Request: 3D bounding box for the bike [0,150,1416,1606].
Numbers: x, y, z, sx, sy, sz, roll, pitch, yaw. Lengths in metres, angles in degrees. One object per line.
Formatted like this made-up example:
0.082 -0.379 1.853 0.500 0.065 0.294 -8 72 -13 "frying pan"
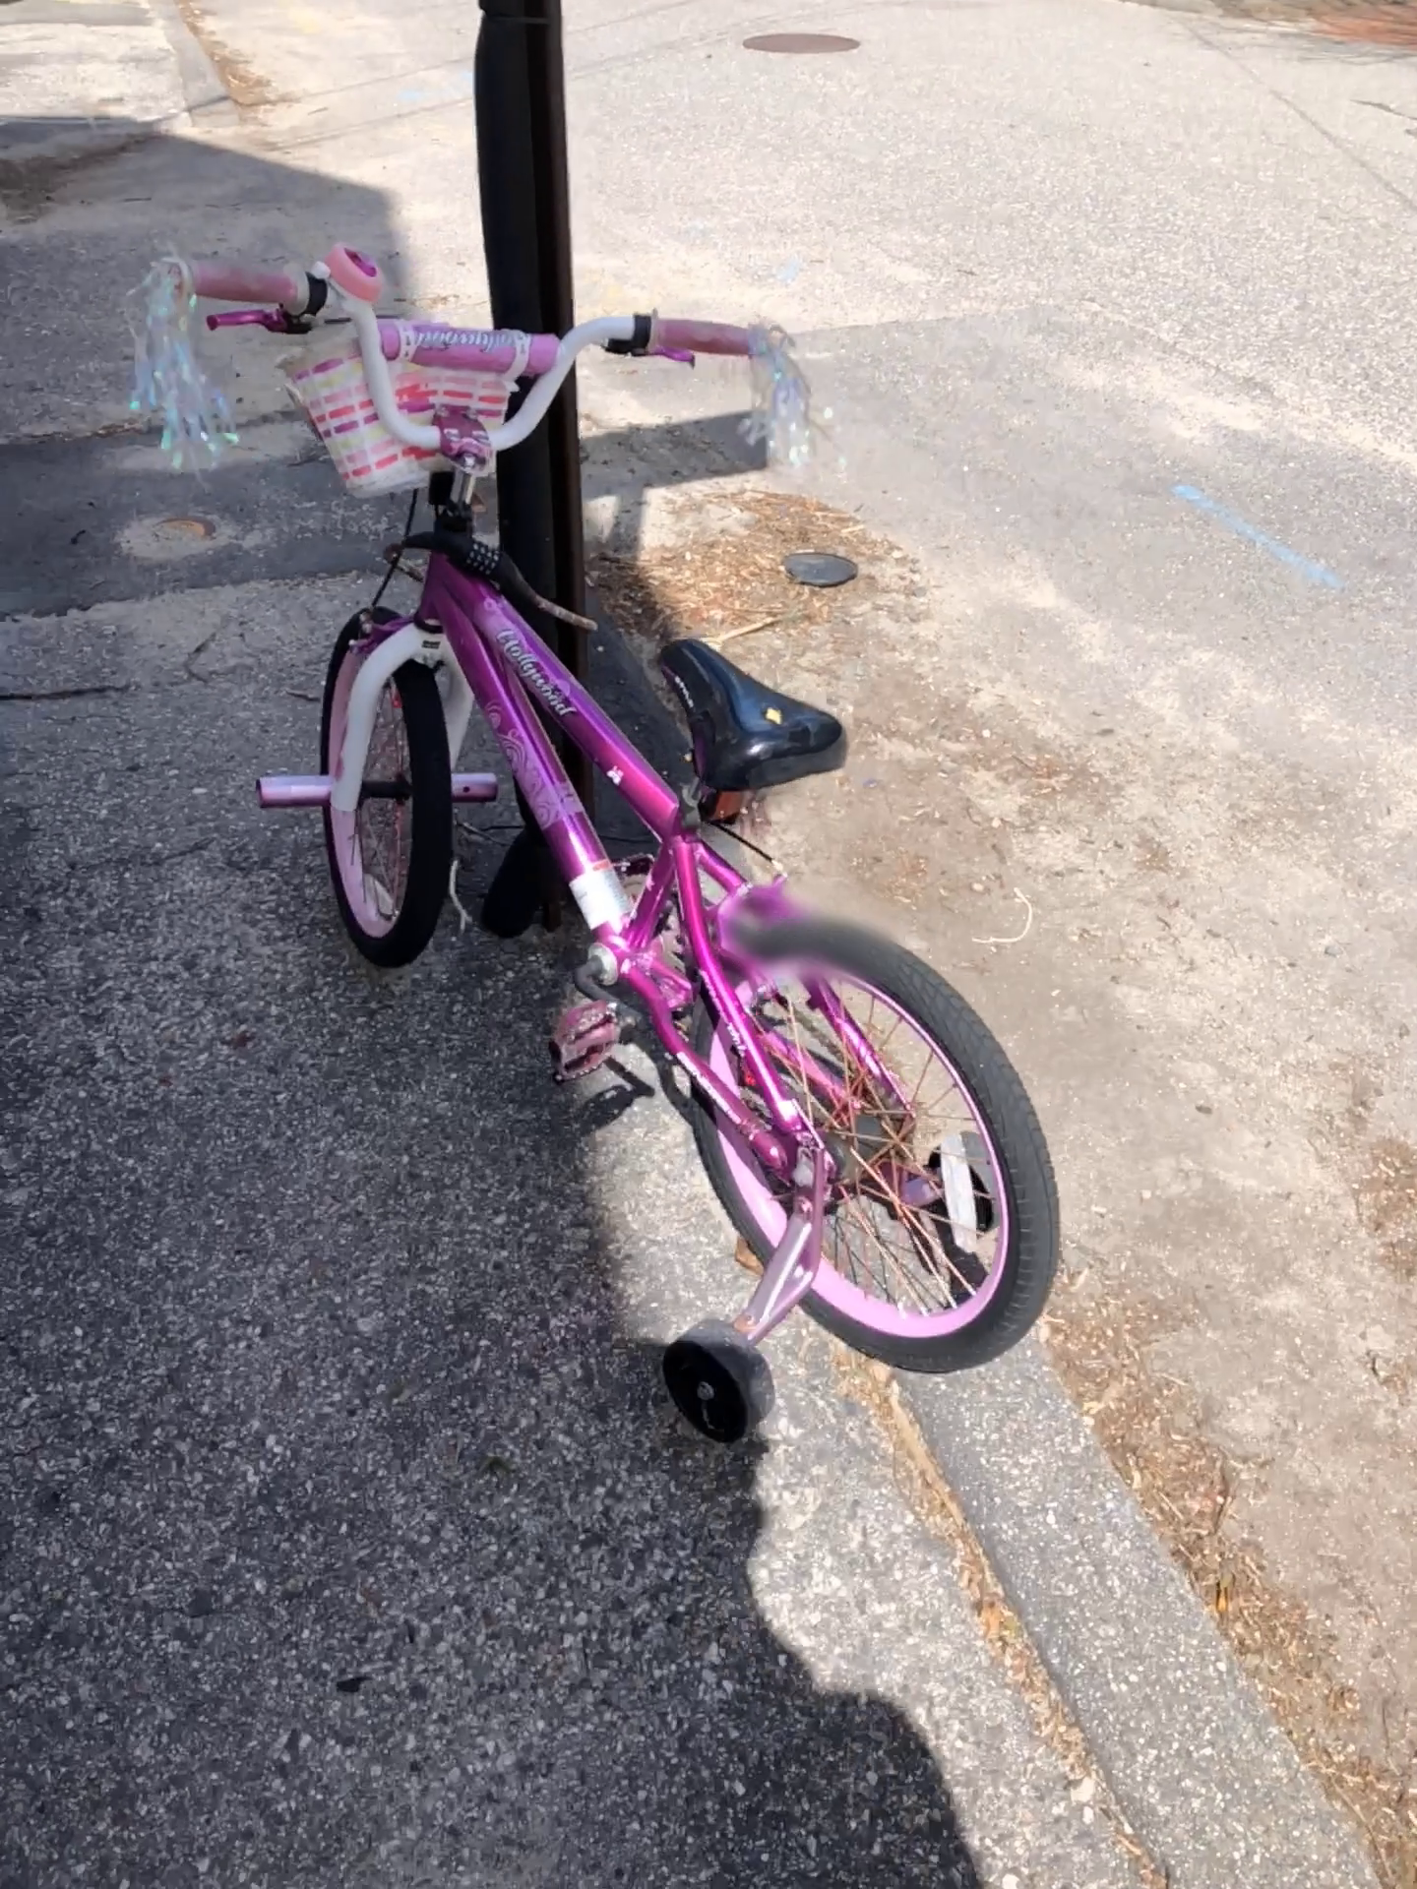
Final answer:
-0.089 -0.200 1.564 0.616 0.869 1.228 -26 44 -31 "bike"
